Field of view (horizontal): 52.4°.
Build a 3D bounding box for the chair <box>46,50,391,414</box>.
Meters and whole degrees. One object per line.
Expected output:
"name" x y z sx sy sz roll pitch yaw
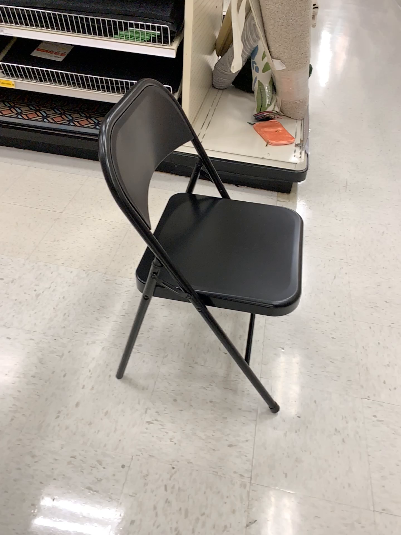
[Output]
"chair" 0.039 -0.073 1.063 0.550 0.716 0.492 10 43 5
